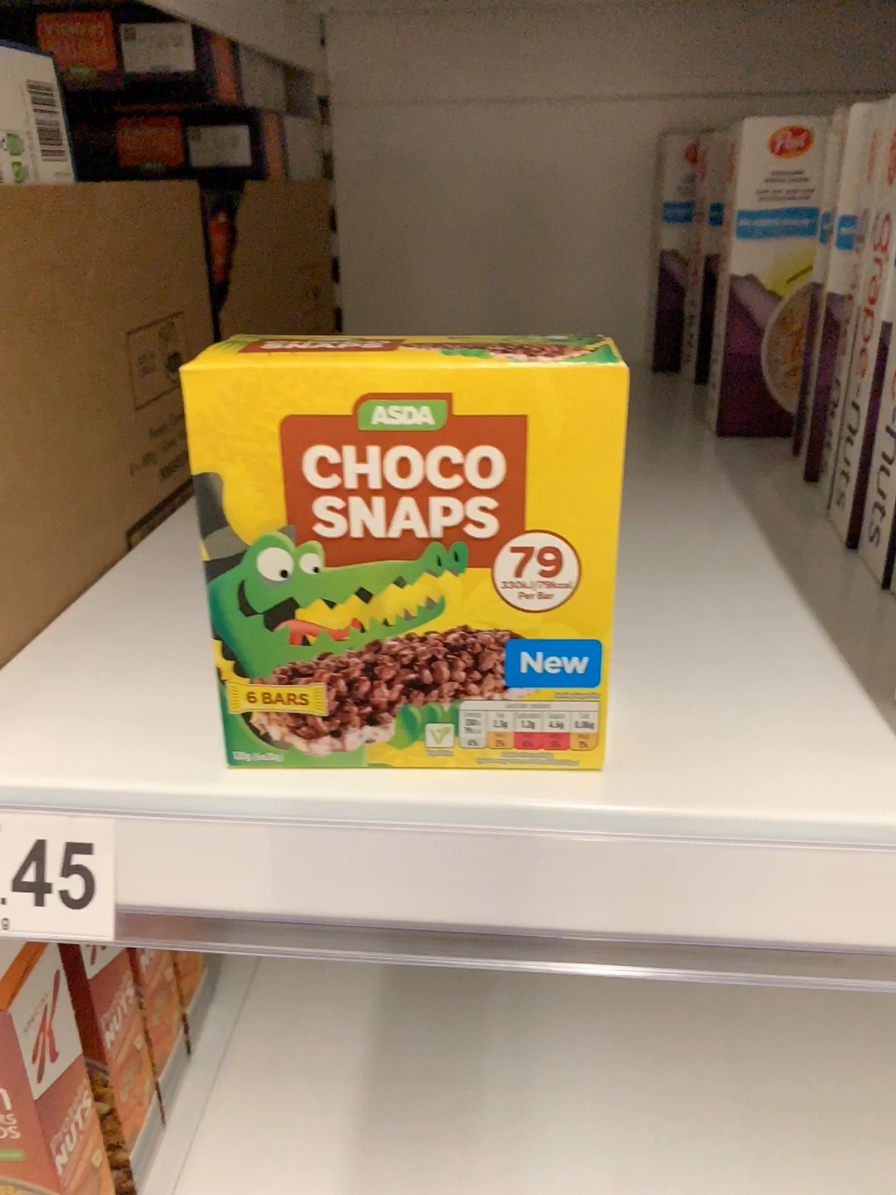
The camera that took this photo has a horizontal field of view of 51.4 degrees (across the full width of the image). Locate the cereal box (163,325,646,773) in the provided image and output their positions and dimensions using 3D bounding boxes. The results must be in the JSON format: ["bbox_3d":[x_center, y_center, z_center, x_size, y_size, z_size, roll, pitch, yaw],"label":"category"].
[{"bbox_3d":[-0.010,-0.017,0.308,0.130,0.129,0.071,0,24,2],"label":"cereal box"}]
